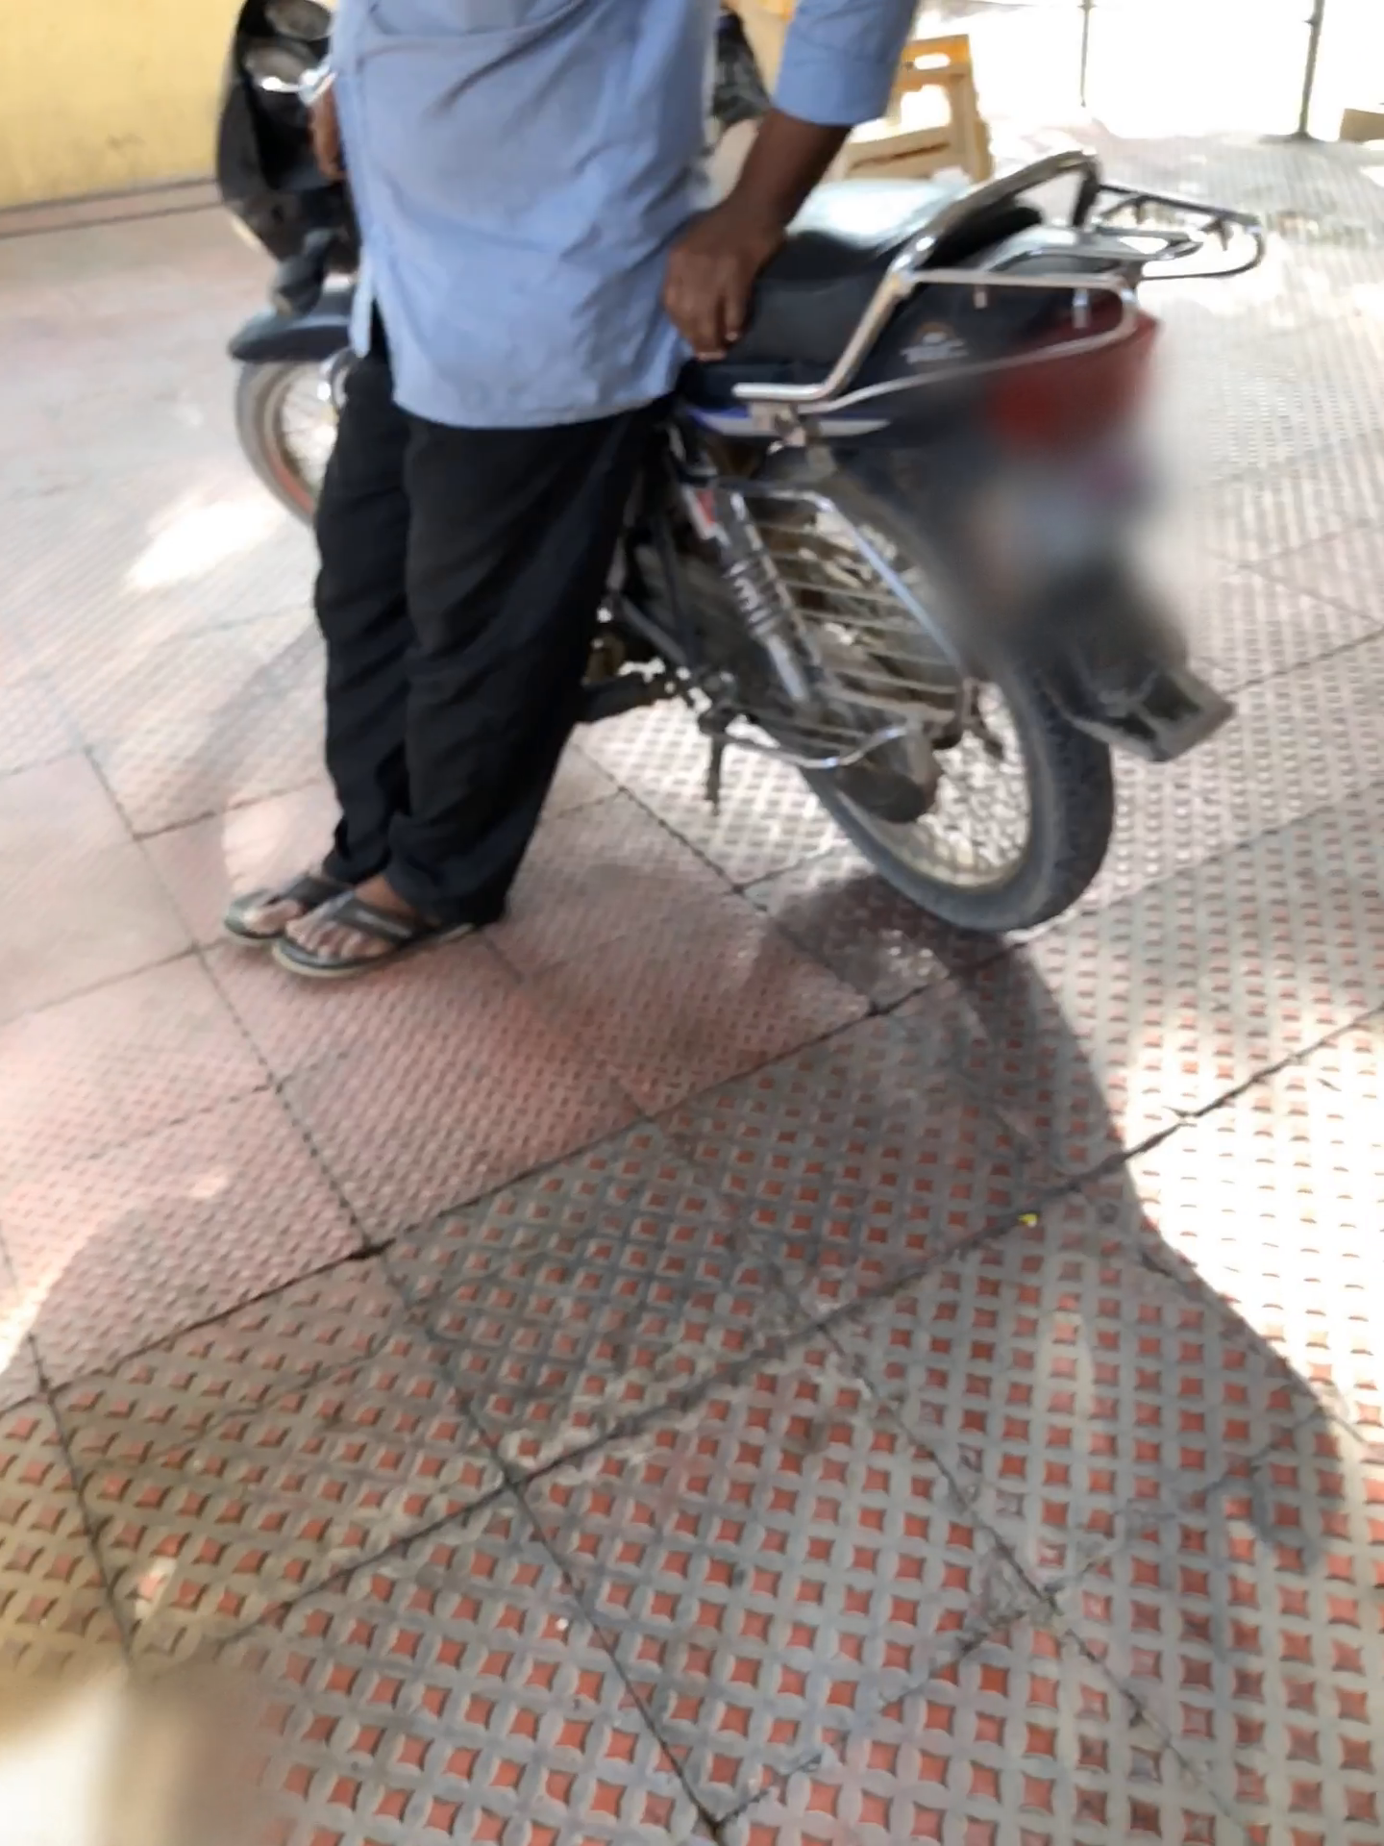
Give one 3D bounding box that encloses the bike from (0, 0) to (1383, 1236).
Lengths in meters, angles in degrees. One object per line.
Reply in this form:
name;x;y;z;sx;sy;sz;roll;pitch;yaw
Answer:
bike;-0.072;-0.616;1.709;0.820;1.063;1.302;-26;43;-27
